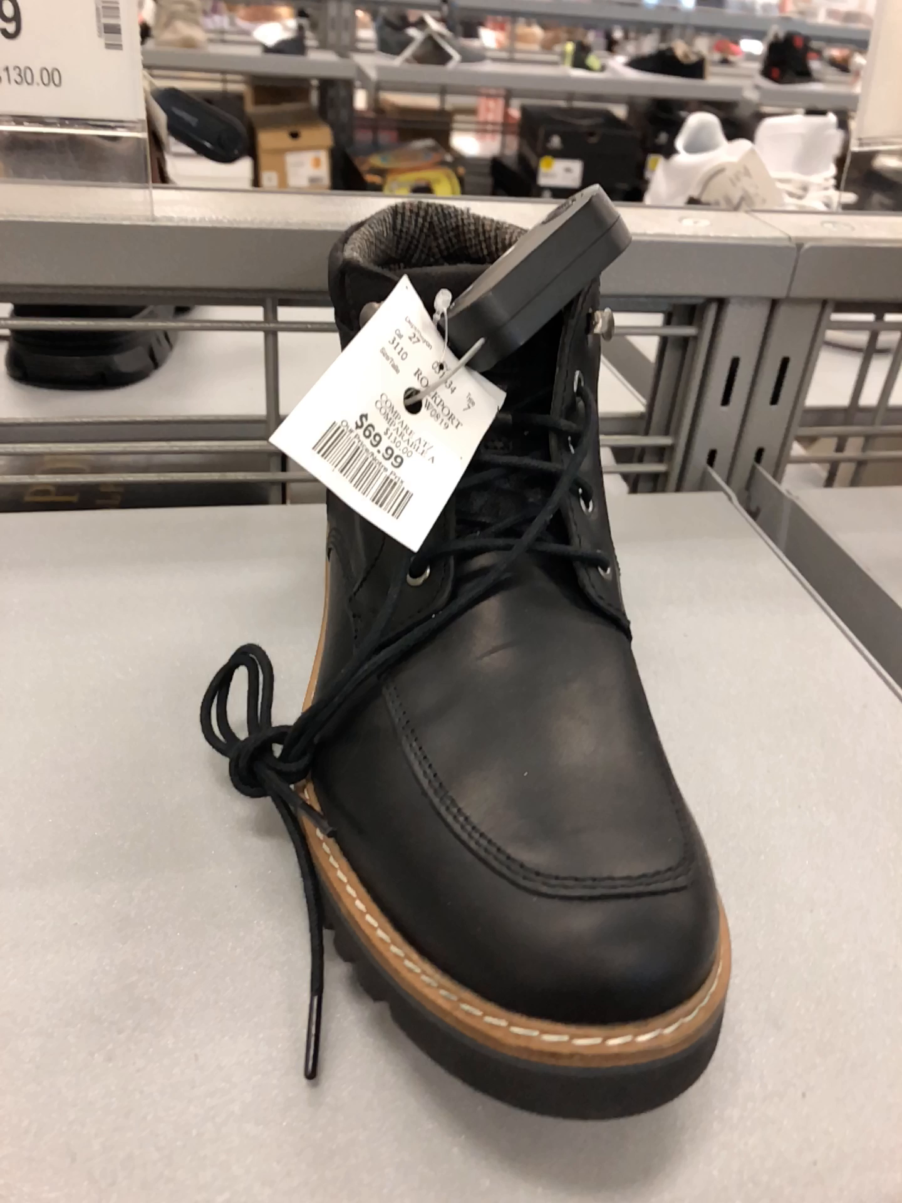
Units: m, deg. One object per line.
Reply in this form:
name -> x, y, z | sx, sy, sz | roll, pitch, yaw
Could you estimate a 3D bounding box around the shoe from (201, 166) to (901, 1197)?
shoe -> -0.004, -0.015, 0.298 | 0.120, 0.139, 0.282 | -4, 38, -14
